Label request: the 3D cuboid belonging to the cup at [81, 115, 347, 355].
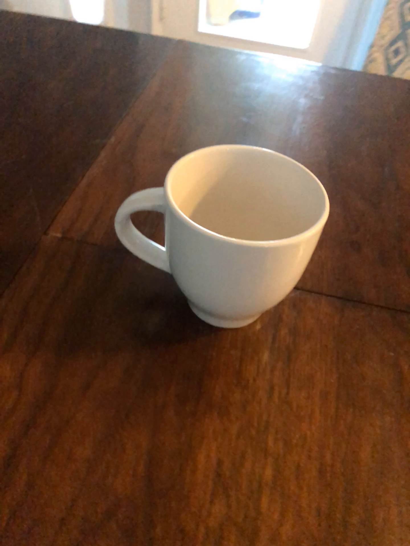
[{"bbox_3d":[0.009,-0.029,0.328,0.150,0.100,0.110,10,46,3],"label":"cup"}]
